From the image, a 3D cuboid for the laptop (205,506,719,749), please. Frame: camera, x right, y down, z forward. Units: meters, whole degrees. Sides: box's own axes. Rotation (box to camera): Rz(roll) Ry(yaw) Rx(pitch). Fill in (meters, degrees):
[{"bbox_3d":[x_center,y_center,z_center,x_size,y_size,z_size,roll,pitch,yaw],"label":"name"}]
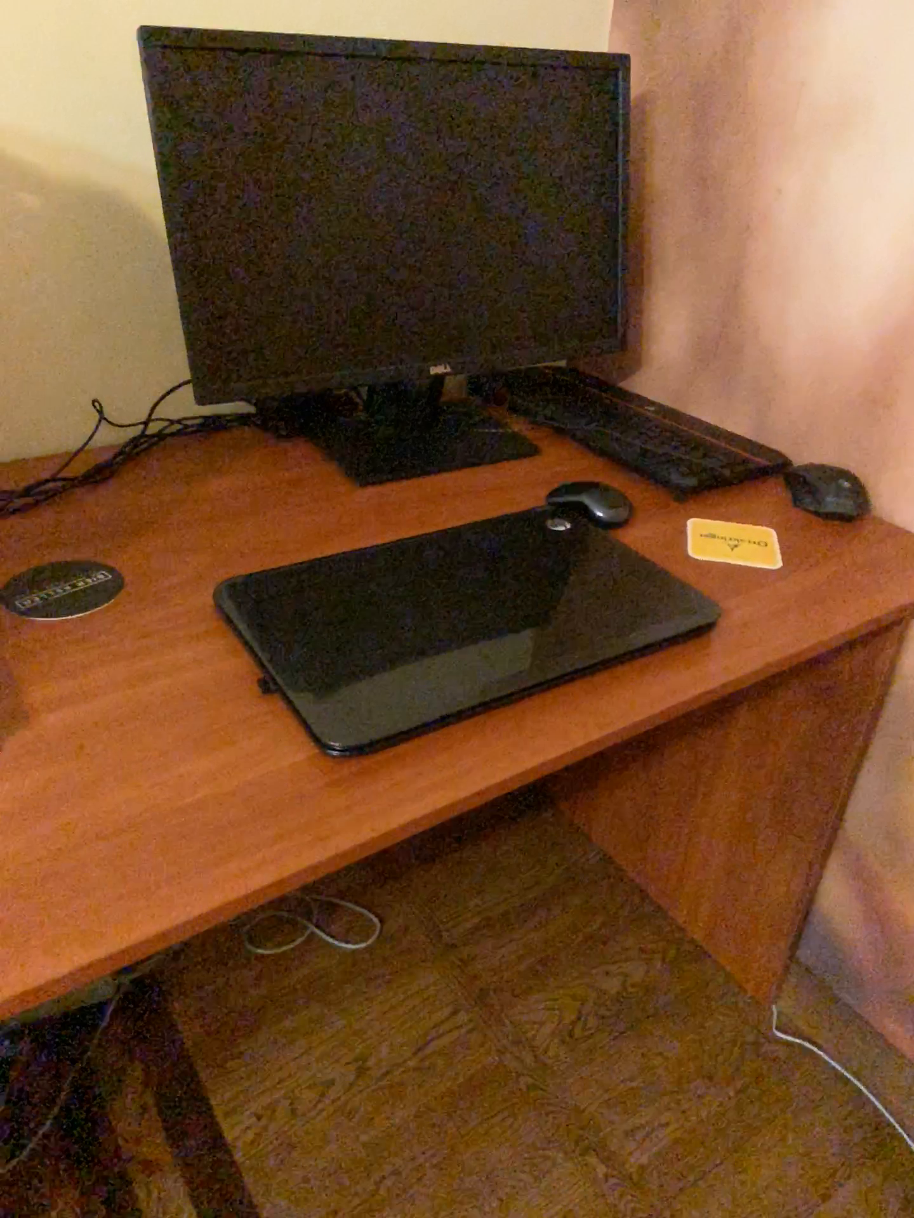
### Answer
[{"bbox_3d":[0.005,-0.007,0.823,0.382,0.001,0.243,-16,37,-28],"label":"laptop"}]
